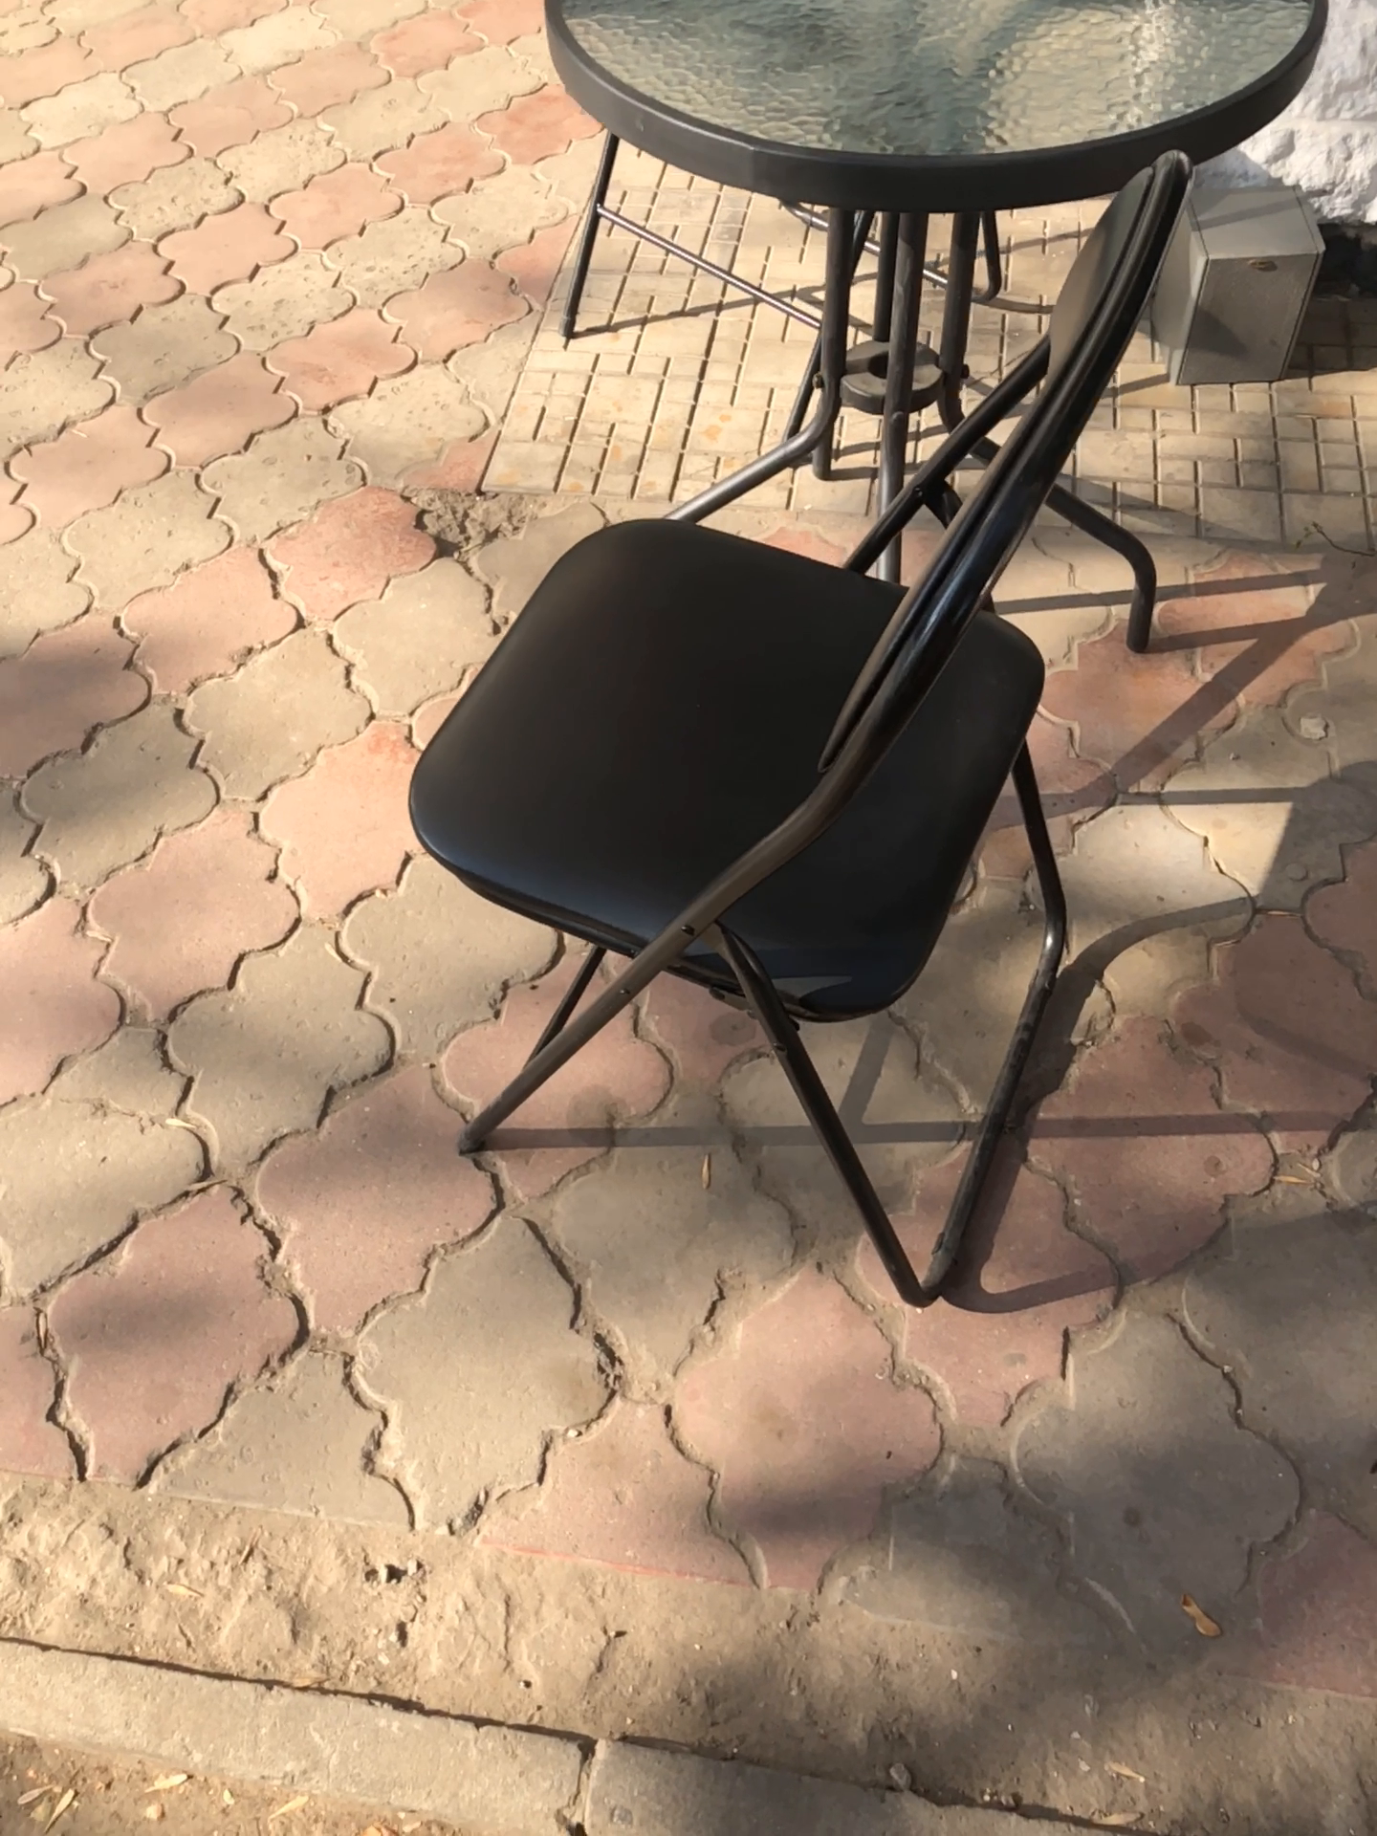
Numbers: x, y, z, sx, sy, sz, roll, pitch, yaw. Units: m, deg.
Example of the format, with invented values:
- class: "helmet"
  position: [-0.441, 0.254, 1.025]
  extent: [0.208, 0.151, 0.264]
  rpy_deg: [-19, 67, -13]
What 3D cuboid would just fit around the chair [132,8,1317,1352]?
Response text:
- class: "chair"
  position: [0.061, -0.136, 1.075]
  extent: [0.470, 0.697, 0.502]
  rpy_deg: [18, 55, 16]
